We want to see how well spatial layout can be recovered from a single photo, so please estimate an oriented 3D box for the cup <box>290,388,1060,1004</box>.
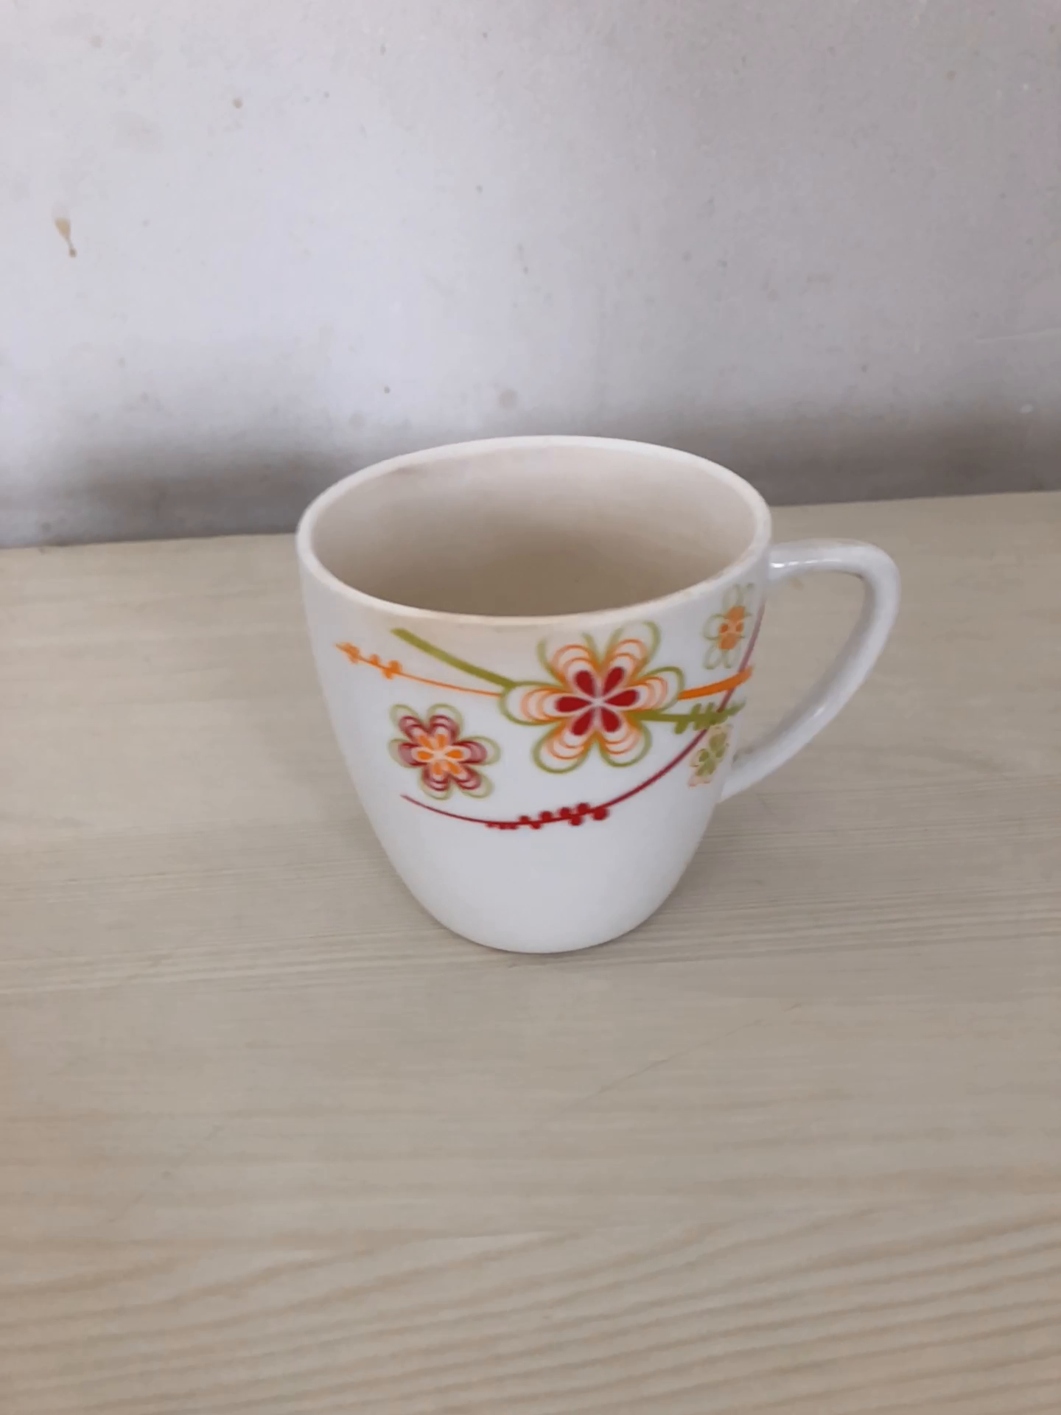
[{"bbox_3d":[0.019,-0.007,0.206,0.110,0.070,0.070,-6,31,-7],"label":"cup"}]
